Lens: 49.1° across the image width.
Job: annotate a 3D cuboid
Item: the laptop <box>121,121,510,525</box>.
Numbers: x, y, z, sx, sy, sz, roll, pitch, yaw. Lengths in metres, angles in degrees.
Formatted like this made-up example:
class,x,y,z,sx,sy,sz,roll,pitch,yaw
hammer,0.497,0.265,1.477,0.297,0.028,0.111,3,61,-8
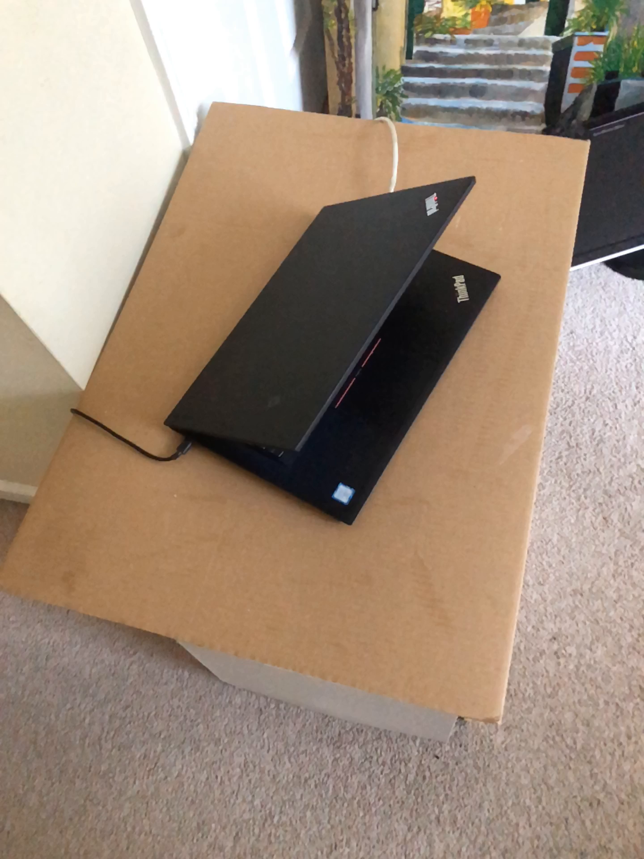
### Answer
class,x,y,z,sx,sy,sz,roll,pitch,yaw
laptop,0.006,-0.119,0.723,0.232,0.140,0.335,26,69,20
